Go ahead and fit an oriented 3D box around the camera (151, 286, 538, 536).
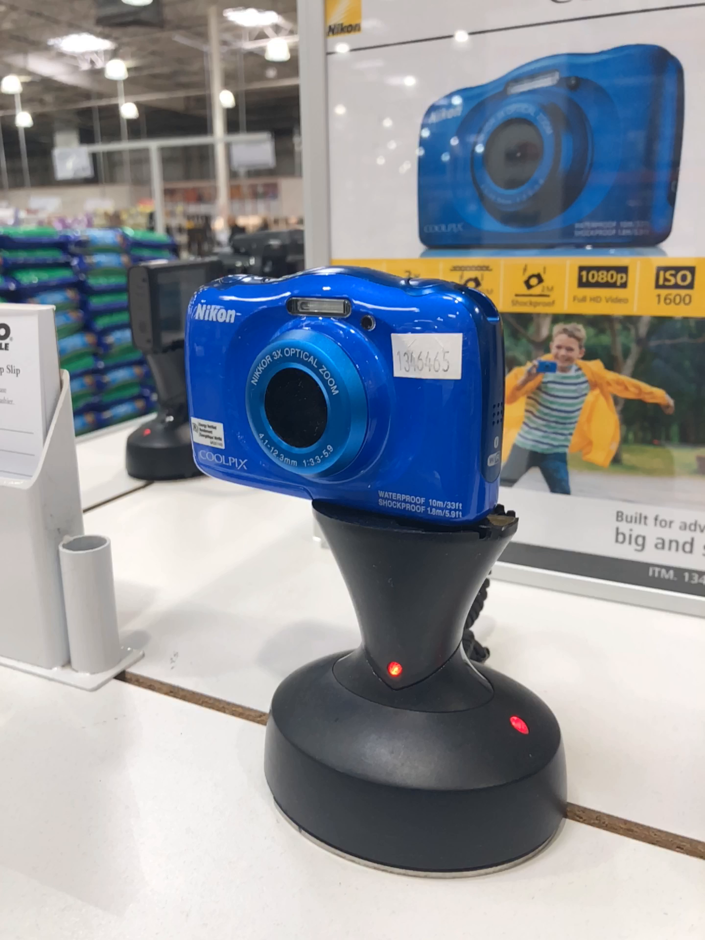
[{"bbox_3d":[-0.005,-0.024,0.243,0.110,0.060,0.040,9,18,29],"label":"camera"}]
